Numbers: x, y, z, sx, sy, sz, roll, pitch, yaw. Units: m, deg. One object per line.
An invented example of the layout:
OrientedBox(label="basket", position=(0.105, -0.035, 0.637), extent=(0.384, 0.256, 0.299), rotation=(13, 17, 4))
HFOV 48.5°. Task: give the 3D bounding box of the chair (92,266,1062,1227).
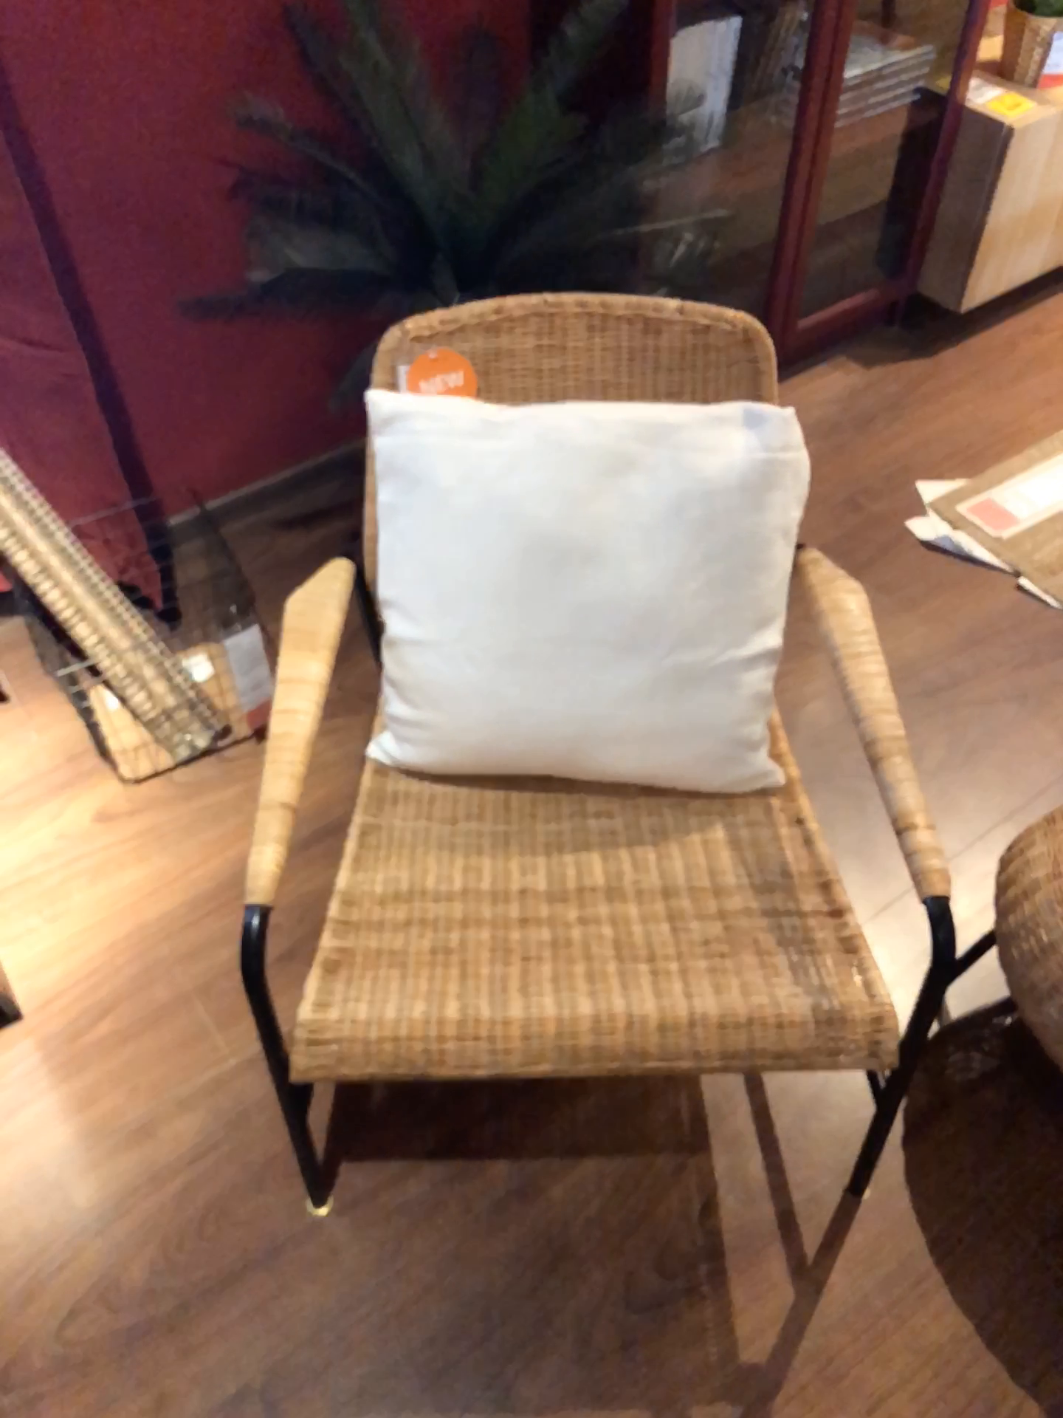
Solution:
OrientedBox(label="chair", position=(0.059, 0.055, 1.206), extent=(0.670, 0.706, 0.664), rotation=(-2, 49, -1))
